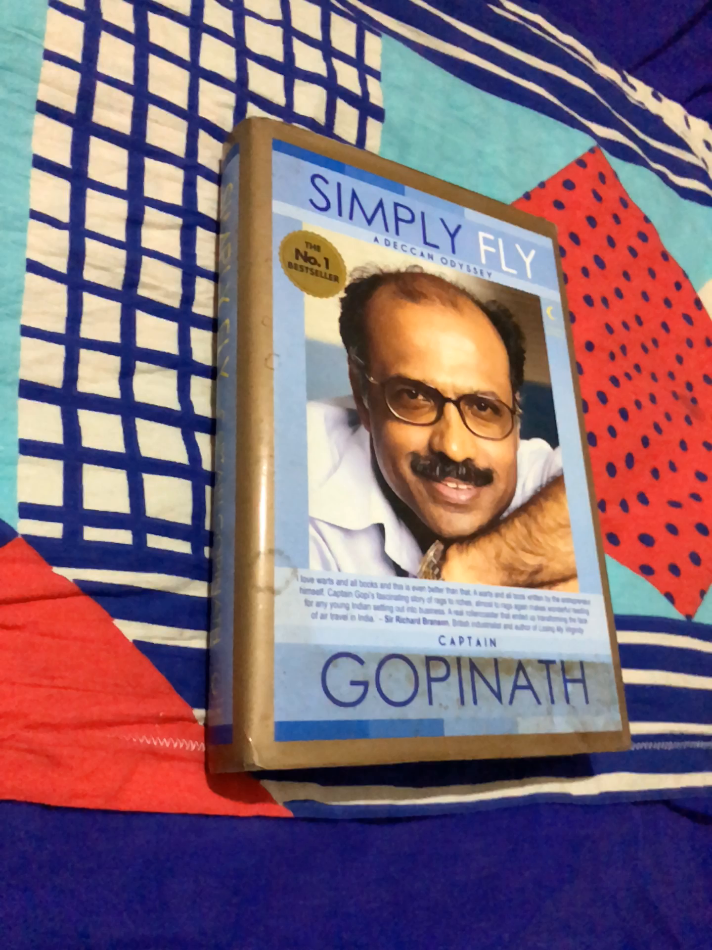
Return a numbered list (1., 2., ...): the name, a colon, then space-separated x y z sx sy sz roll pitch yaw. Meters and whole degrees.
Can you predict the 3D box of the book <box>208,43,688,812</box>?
1. book: 0.032 -0.016 0.302 0.161 0.050 0.250 9 69 -30
